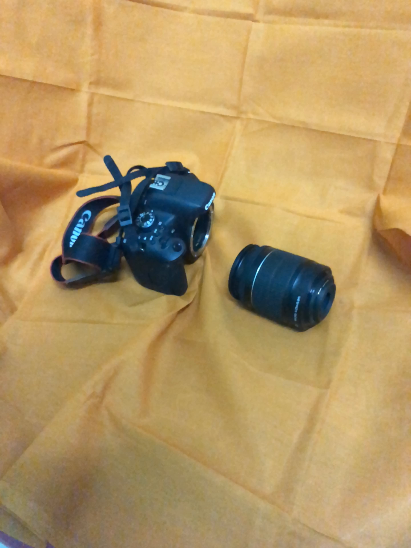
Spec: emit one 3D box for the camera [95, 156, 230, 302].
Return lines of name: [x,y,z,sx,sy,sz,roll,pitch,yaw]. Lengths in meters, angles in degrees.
camera: [-0.040,-0.054,0.507,0.092,0.071,0.134,16,55,17]
